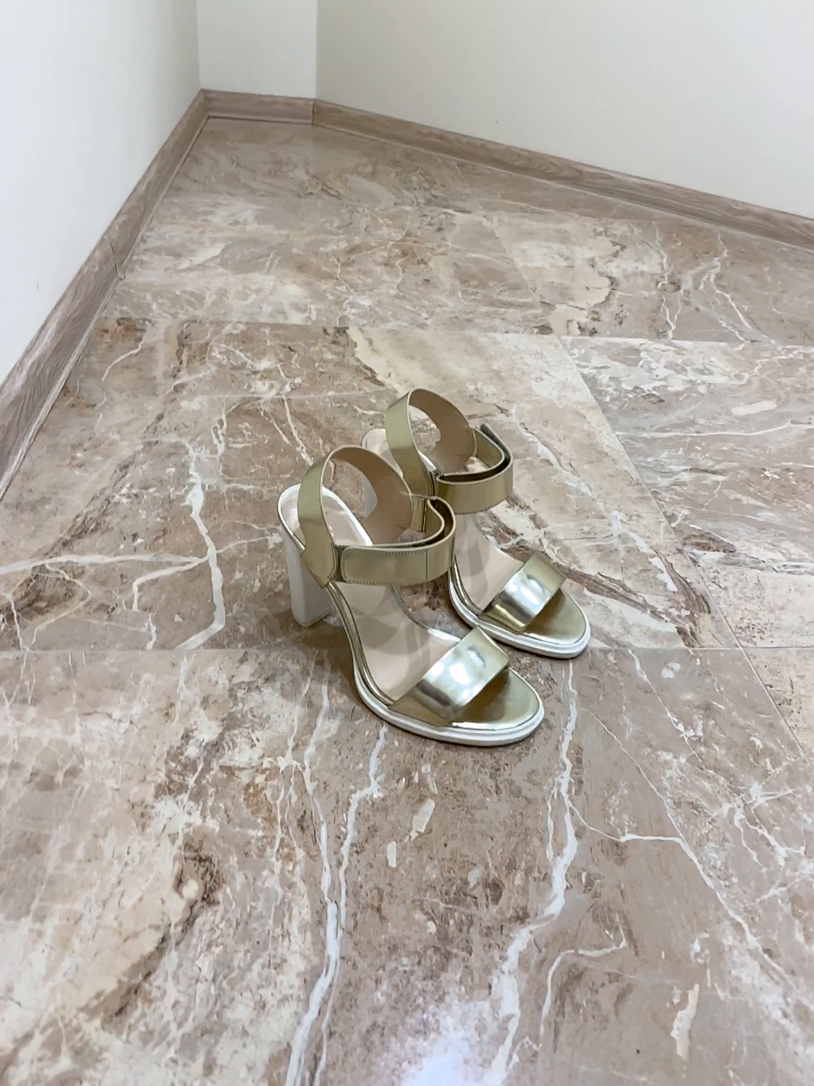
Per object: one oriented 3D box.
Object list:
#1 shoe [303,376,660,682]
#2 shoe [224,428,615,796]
[{"bbox_3d":[0.046,-0.019,0.620,0.230,0.119,0.100,24,39,23],"label":"shoe"},{"bbox_3d":[-0.001,0.036,0.541,0.220,0.129,0.096,24,39,23],"label":"shoe"}]
